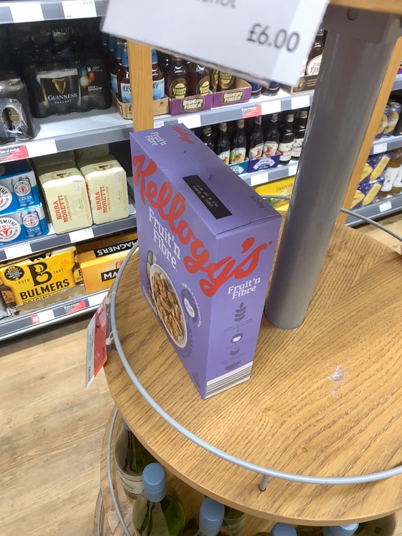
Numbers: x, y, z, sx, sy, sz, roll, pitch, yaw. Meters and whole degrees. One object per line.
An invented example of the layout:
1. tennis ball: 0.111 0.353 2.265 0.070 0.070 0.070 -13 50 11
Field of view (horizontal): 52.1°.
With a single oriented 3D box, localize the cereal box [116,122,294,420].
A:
1. cereal box: -0.014 0.005 0.440 0.070 0.238 0.202 -17 47 -22
